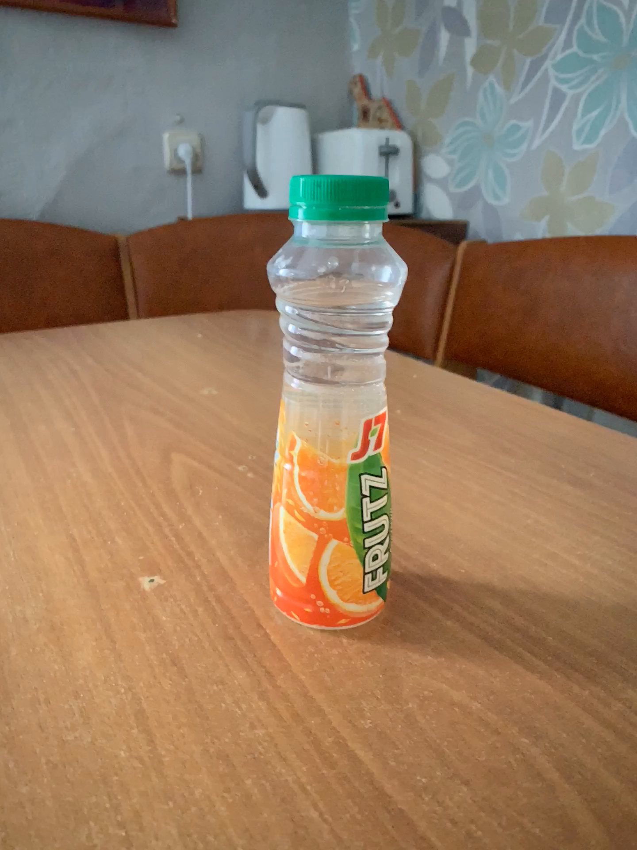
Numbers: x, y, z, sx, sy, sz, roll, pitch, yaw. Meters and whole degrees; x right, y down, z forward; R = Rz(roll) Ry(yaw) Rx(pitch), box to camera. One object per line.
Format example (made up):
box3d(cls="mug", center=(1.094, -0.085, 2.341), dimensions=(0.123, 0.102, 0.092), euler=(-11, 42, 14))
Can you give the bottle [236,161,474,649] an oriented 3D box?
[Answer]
box3d(cls="bottle", center=(0.011, -0.012, 0.302), dimensions=(0.070, 0.201, 0.070), euler=(1, 21, 0))
